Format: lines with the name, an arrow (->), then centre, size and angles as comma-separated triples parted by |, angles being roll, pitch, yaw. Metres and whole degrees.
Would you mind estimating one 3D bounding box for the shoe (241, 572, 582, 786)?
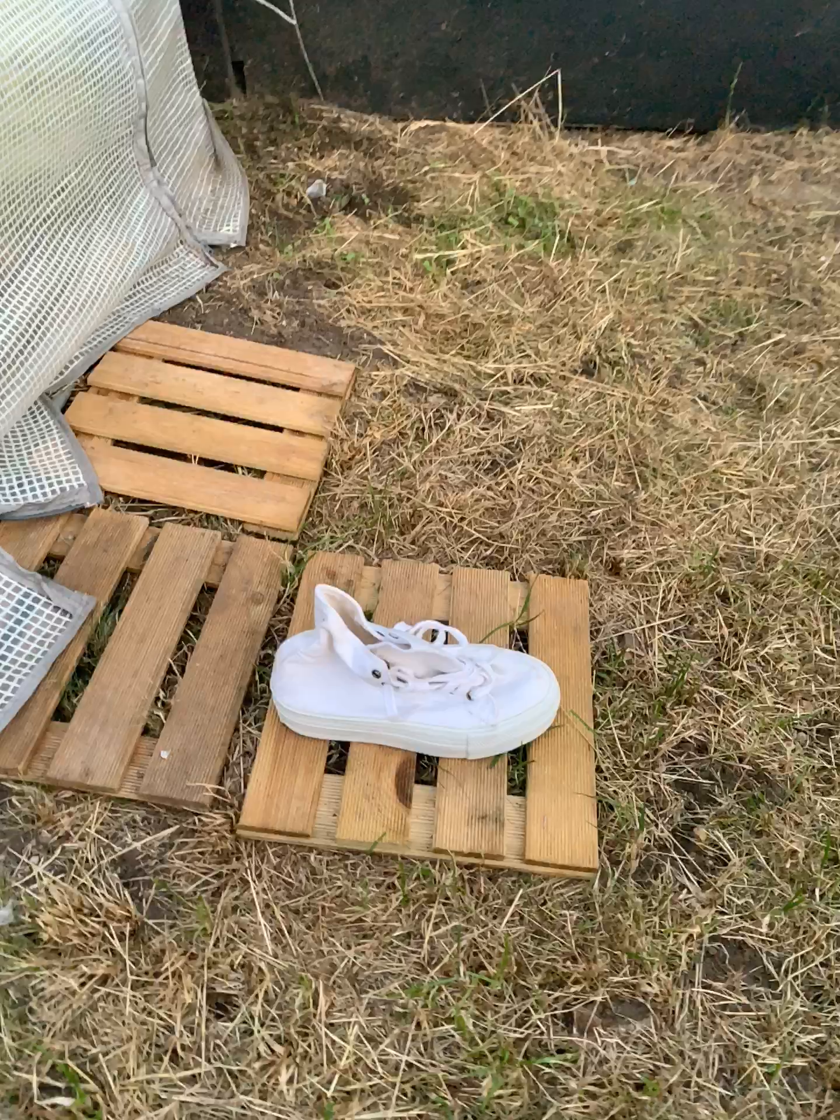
shoe -> -0.001, 0.102, 0.731 | 0.260, 0.129, 0.101 | 5, 49, 7
